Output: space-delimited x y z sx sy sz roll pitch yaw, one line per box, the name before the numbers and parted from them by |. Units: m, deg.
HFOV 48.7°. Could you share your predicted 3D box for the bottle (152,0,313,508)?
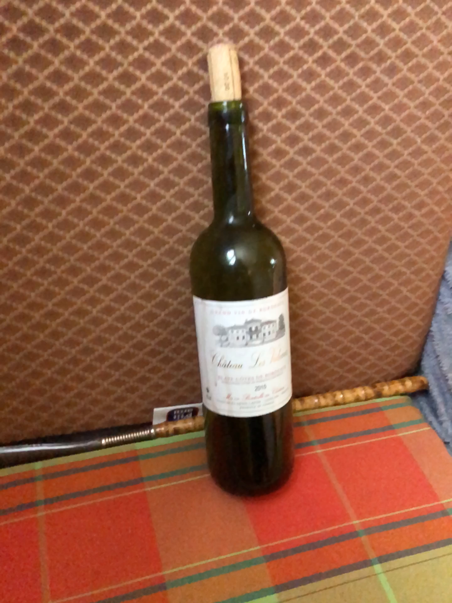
bottle | 0.009 -0.019 0.369 0.080 0.339 0.070 -7 17 -5
